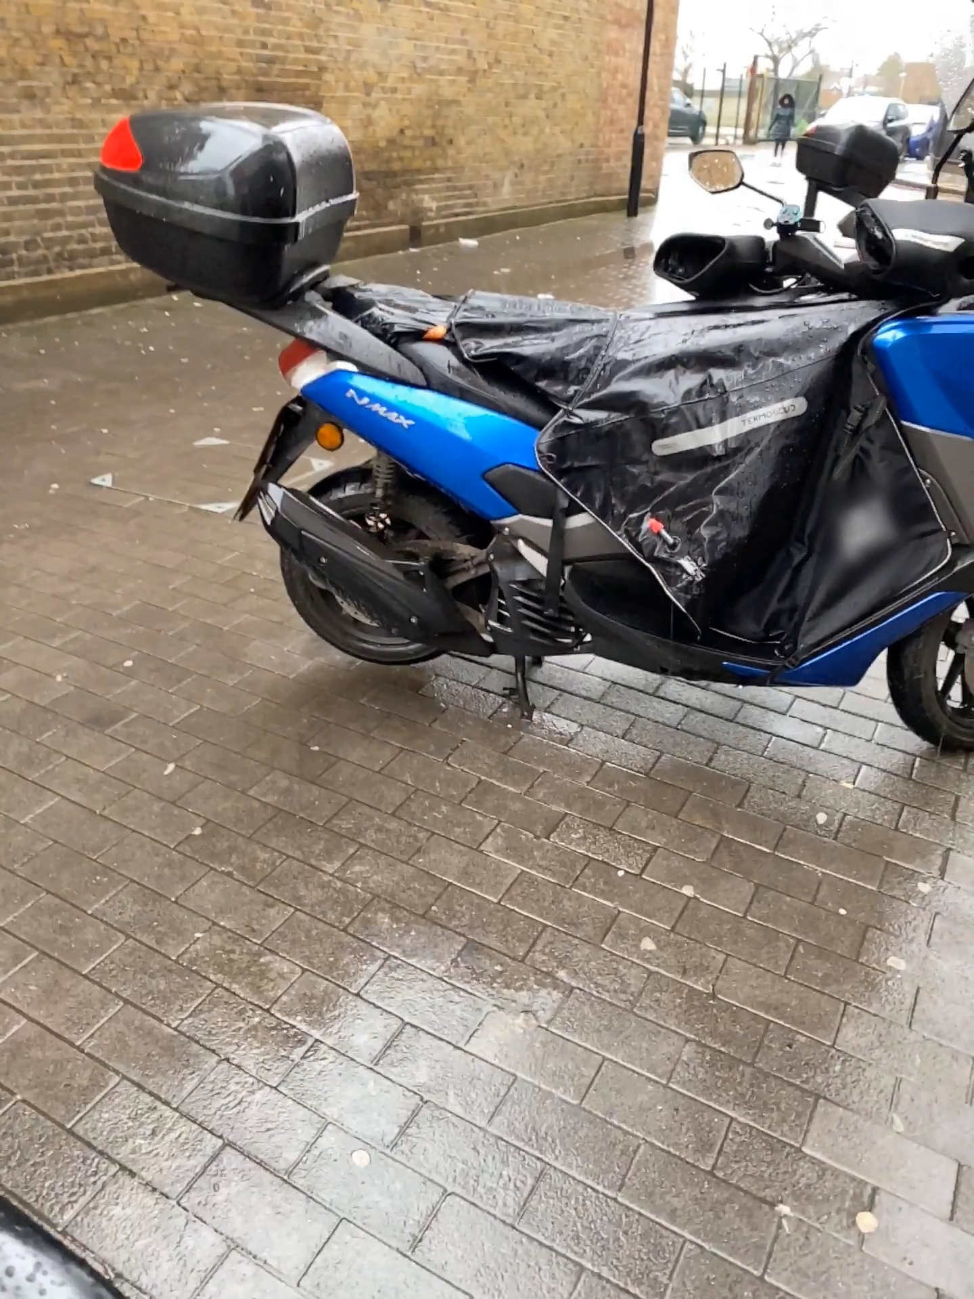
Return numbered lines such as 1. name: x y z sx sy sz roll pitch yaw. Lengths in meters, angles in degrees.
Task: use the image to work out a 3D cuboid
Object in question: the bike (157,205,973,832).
1. bike: 0.385 -0.308 2.045 1.730 0.998 0.682 4 28 4
